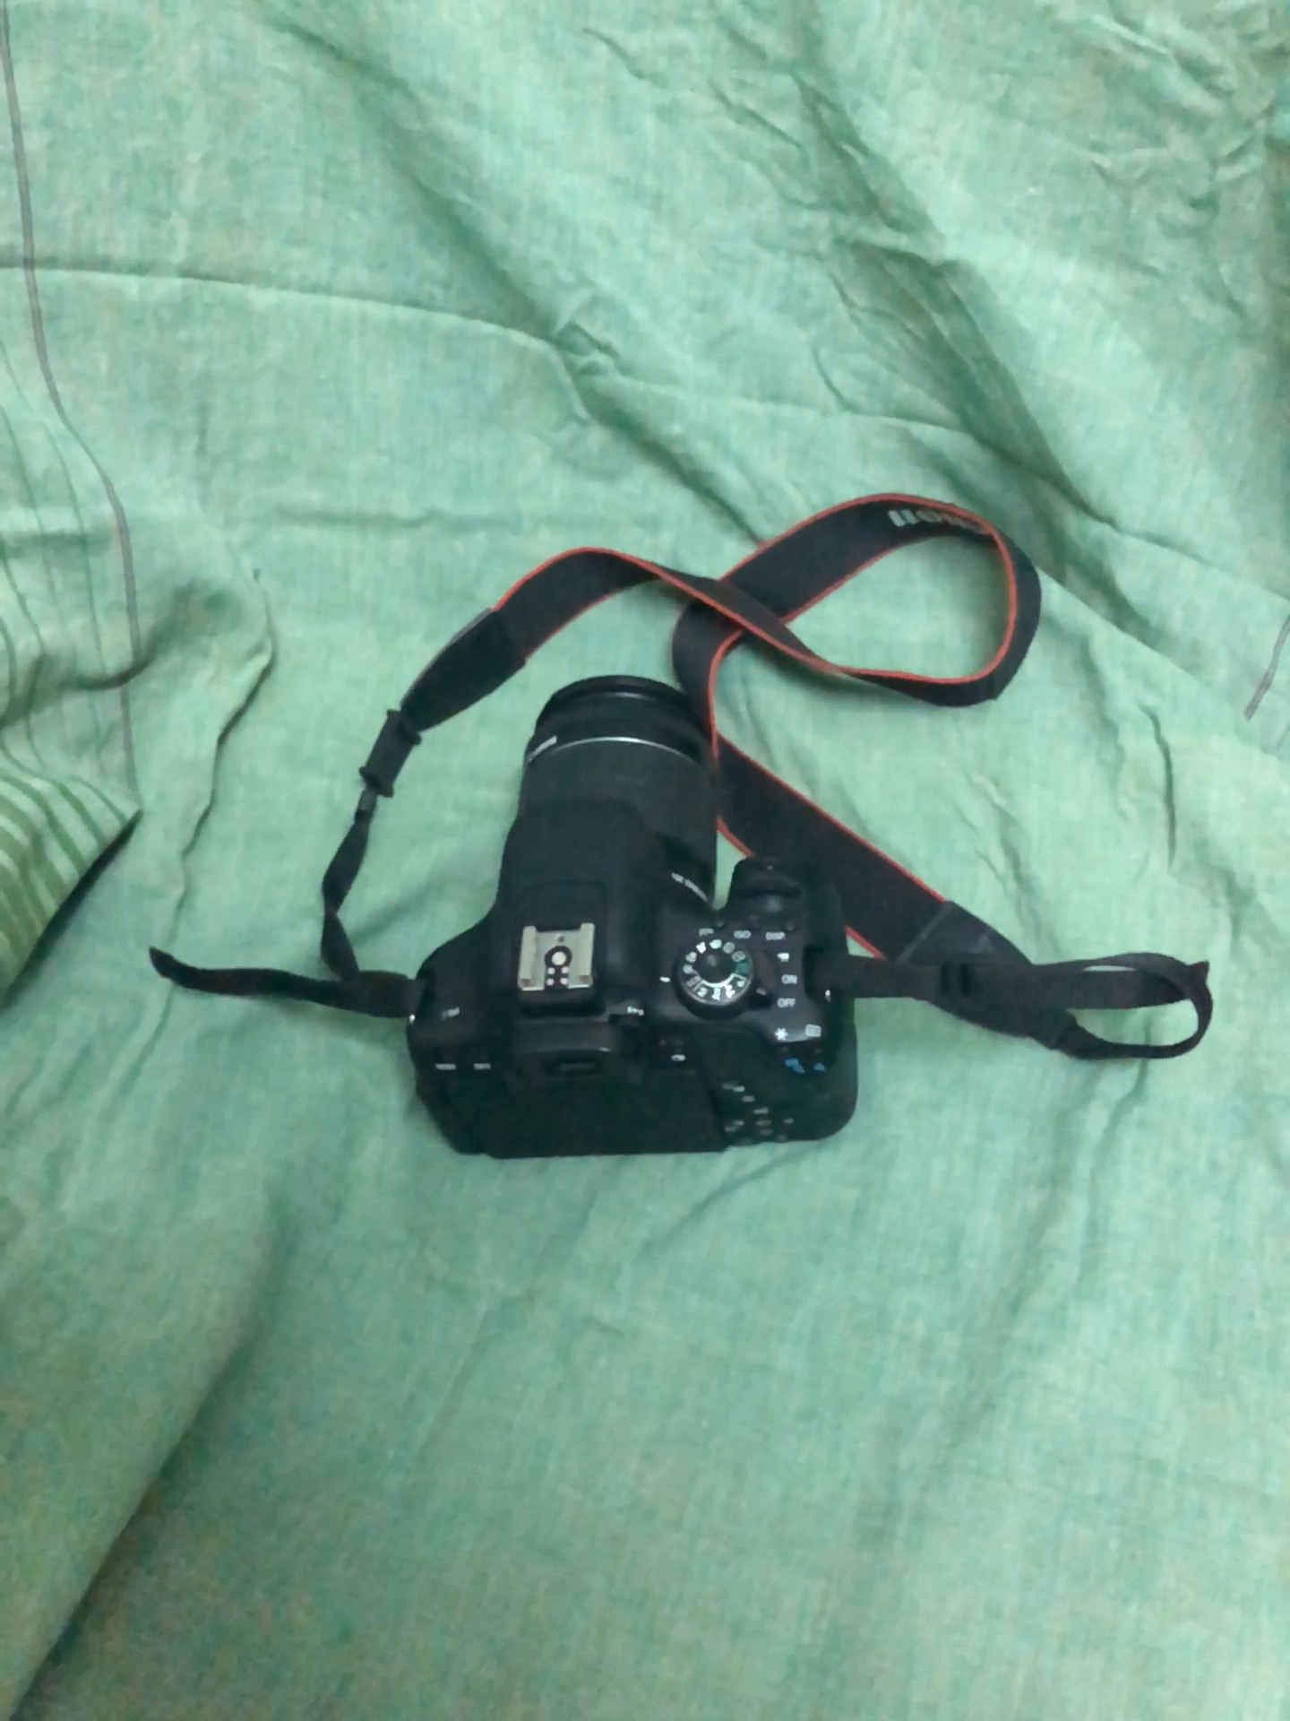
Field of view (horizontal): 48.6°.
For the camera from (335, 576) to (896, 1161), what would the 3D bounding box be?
[{"bbox_3d":[-0.003,0.005,0.439,0.142,0.100,0.144,-2,59,5],"label":"camera"}]
